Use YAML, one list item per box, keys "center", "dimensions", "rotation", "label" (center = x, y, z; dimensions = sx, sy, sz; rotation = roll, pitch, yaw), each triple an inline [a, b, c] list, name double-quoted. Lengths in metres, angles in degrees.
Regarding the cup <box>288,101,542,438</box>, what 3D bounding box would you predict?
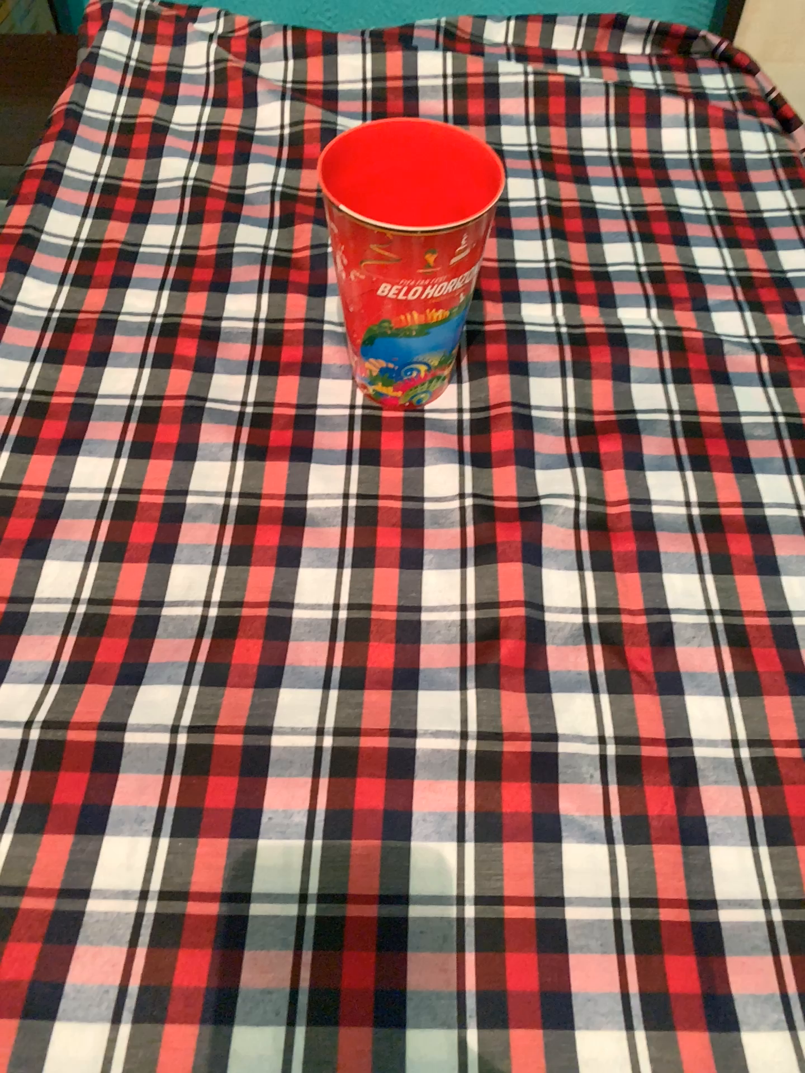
- center: [0.001, -0.142, 0.450]
  dimensions: [0.100, 0.130, 0.100]
  rotation: [1, 56, -2]
  label: "cup"
